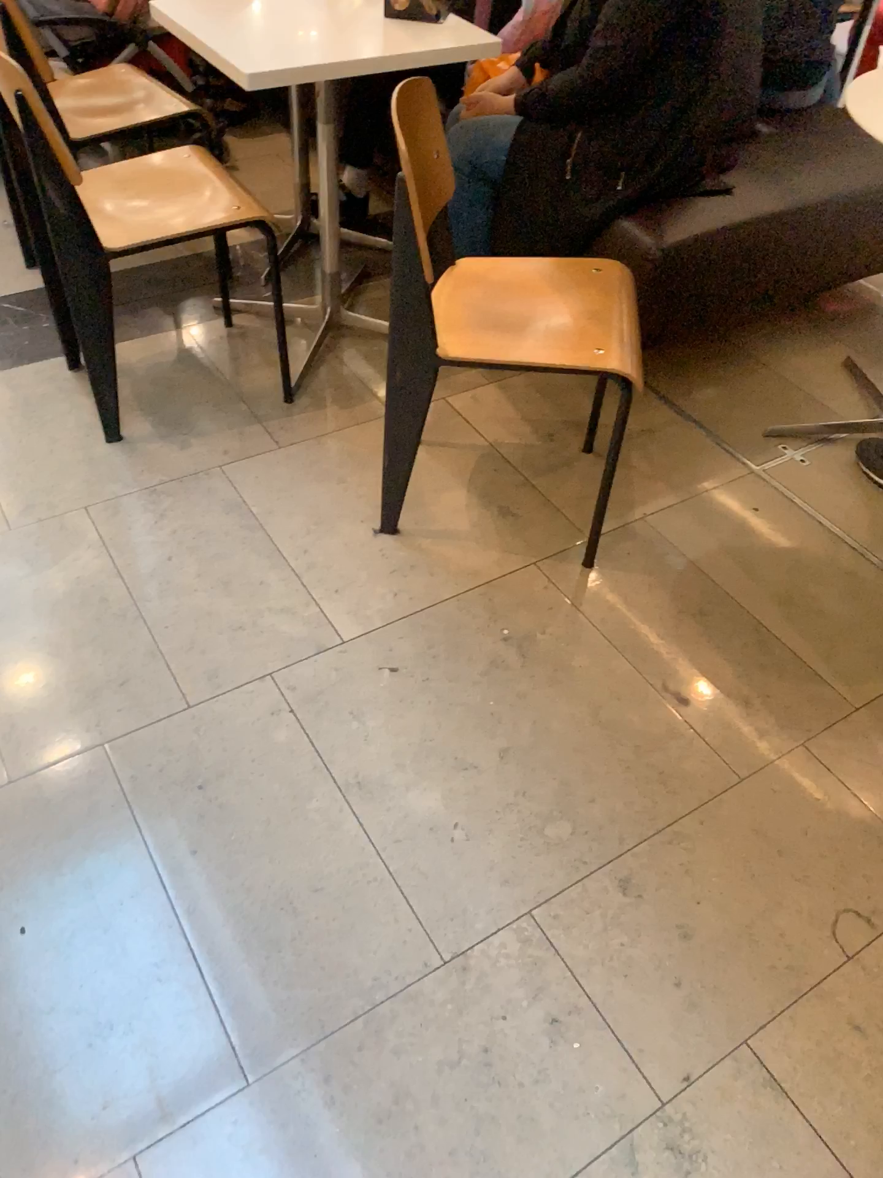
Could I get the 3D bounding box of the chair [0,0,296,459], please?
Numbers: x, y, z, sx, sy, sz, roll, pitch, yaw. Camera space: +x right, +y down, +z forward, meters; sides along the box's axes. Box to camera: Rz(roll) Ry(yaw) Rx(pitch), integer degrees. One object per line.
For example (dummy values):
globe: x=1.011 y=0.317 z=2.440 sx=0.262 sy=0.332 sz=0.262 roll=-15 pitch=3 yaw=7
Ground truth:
chair: x=-0.651 y=-0.774 z=1.928 sx=0.496 sy=0.767 sz=0.430 roll=-21 pitch=51 yaw=-23

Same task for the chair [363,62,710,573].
chair: x=0.132 y=-0.479 z=1.692 sx=0.494 sy=0.767 sz=0.421 roll=7 pitch=46 yaw=2
